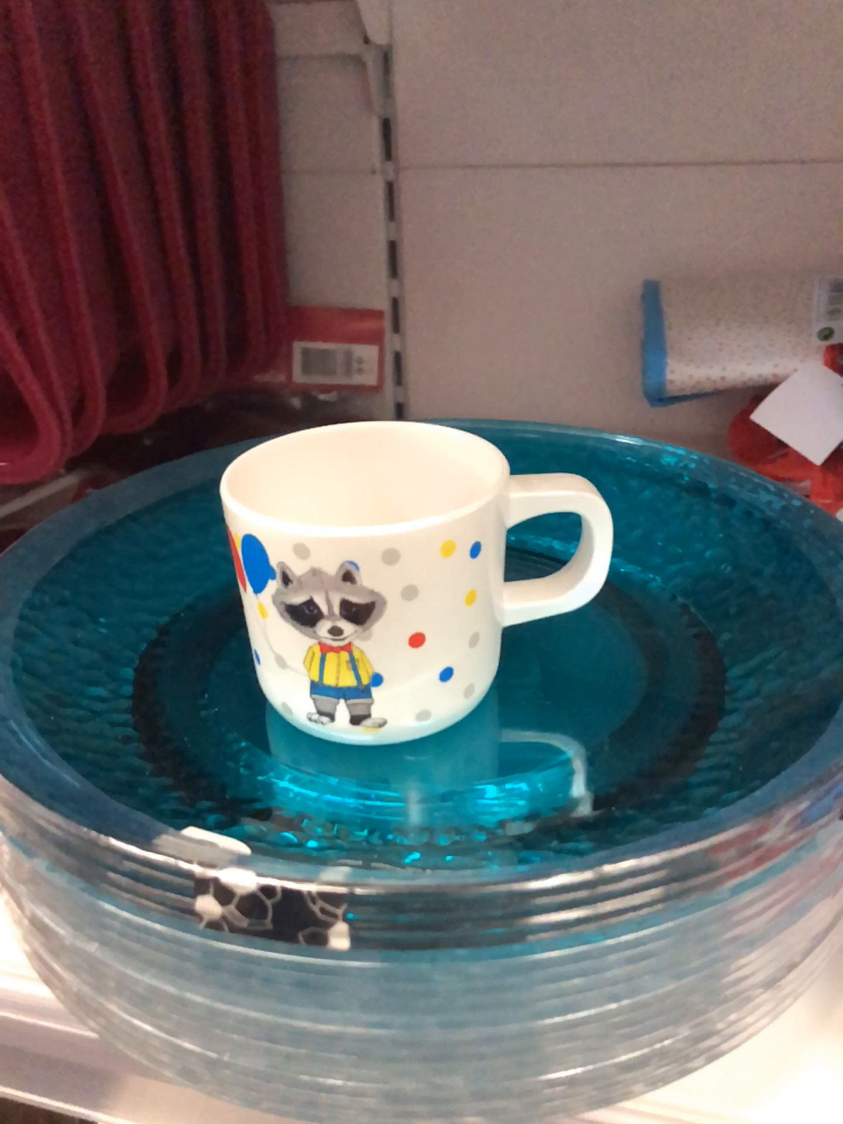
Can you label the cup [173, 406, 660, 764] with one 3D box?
[{"bbox_3d":[-0.003,0.001,0.257,0.109,0.059,0.081,-4,27,-5],"label":"cup"}]
